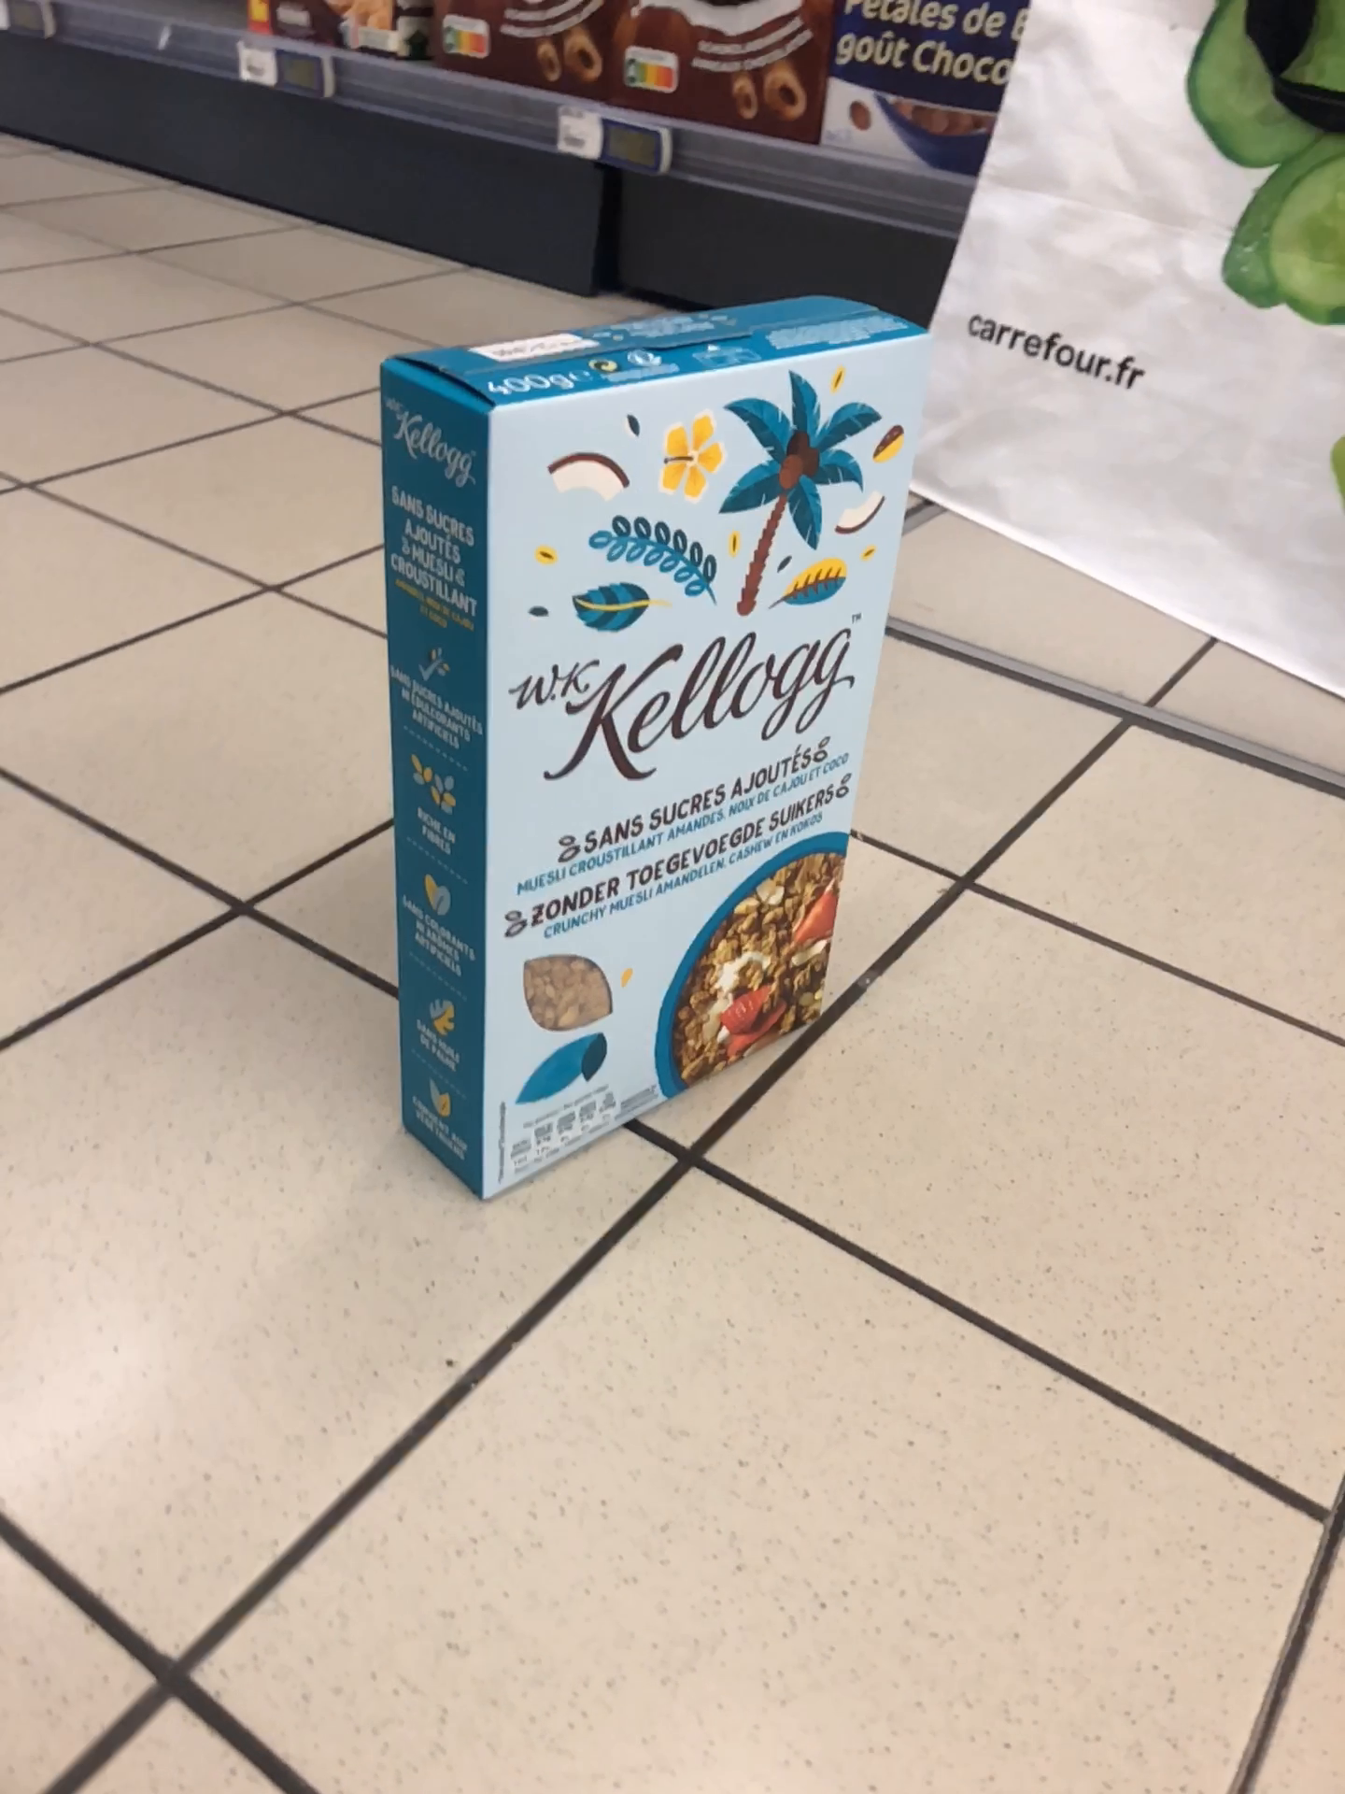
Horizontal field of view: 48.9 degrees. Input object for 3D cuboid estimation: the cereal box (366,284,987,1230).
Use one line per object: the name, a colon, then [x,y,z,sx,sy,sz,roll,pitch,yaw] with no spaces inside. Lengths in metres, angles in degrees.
cereal box: [-0.002,-0.039,0.427,0.161,0.238,0.050,-24,44,-36]
